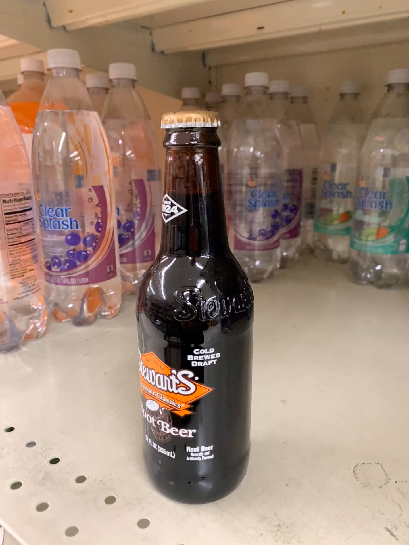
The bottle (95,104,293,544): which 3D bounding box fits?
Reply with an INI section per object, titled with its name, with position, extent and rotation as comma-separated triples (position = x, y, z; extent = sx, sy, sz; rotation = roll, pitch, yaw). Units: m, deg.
[bottle]
position = -0.004, 0.024, 0.227
extent = 0.070, 0.207, 0.060
rotation = 16, 24, 43
